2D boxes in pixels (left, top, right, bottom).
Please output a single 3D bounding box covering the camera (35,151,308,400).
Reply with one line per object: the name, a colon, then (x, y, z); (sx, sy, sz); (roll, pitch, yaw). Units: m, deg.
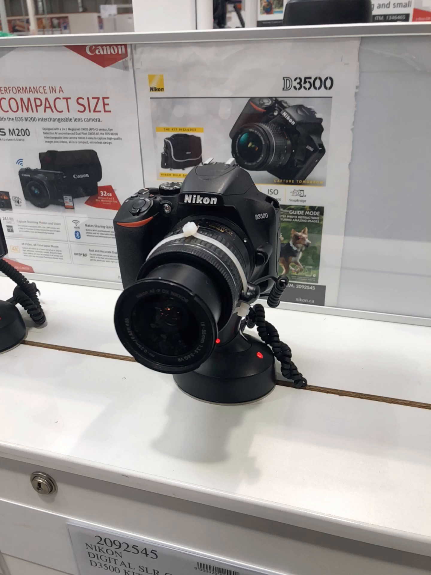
camera: (-0.010, -0.029, 0.360); (0.140, 0.110, 0.191); (5, 26, 12)
